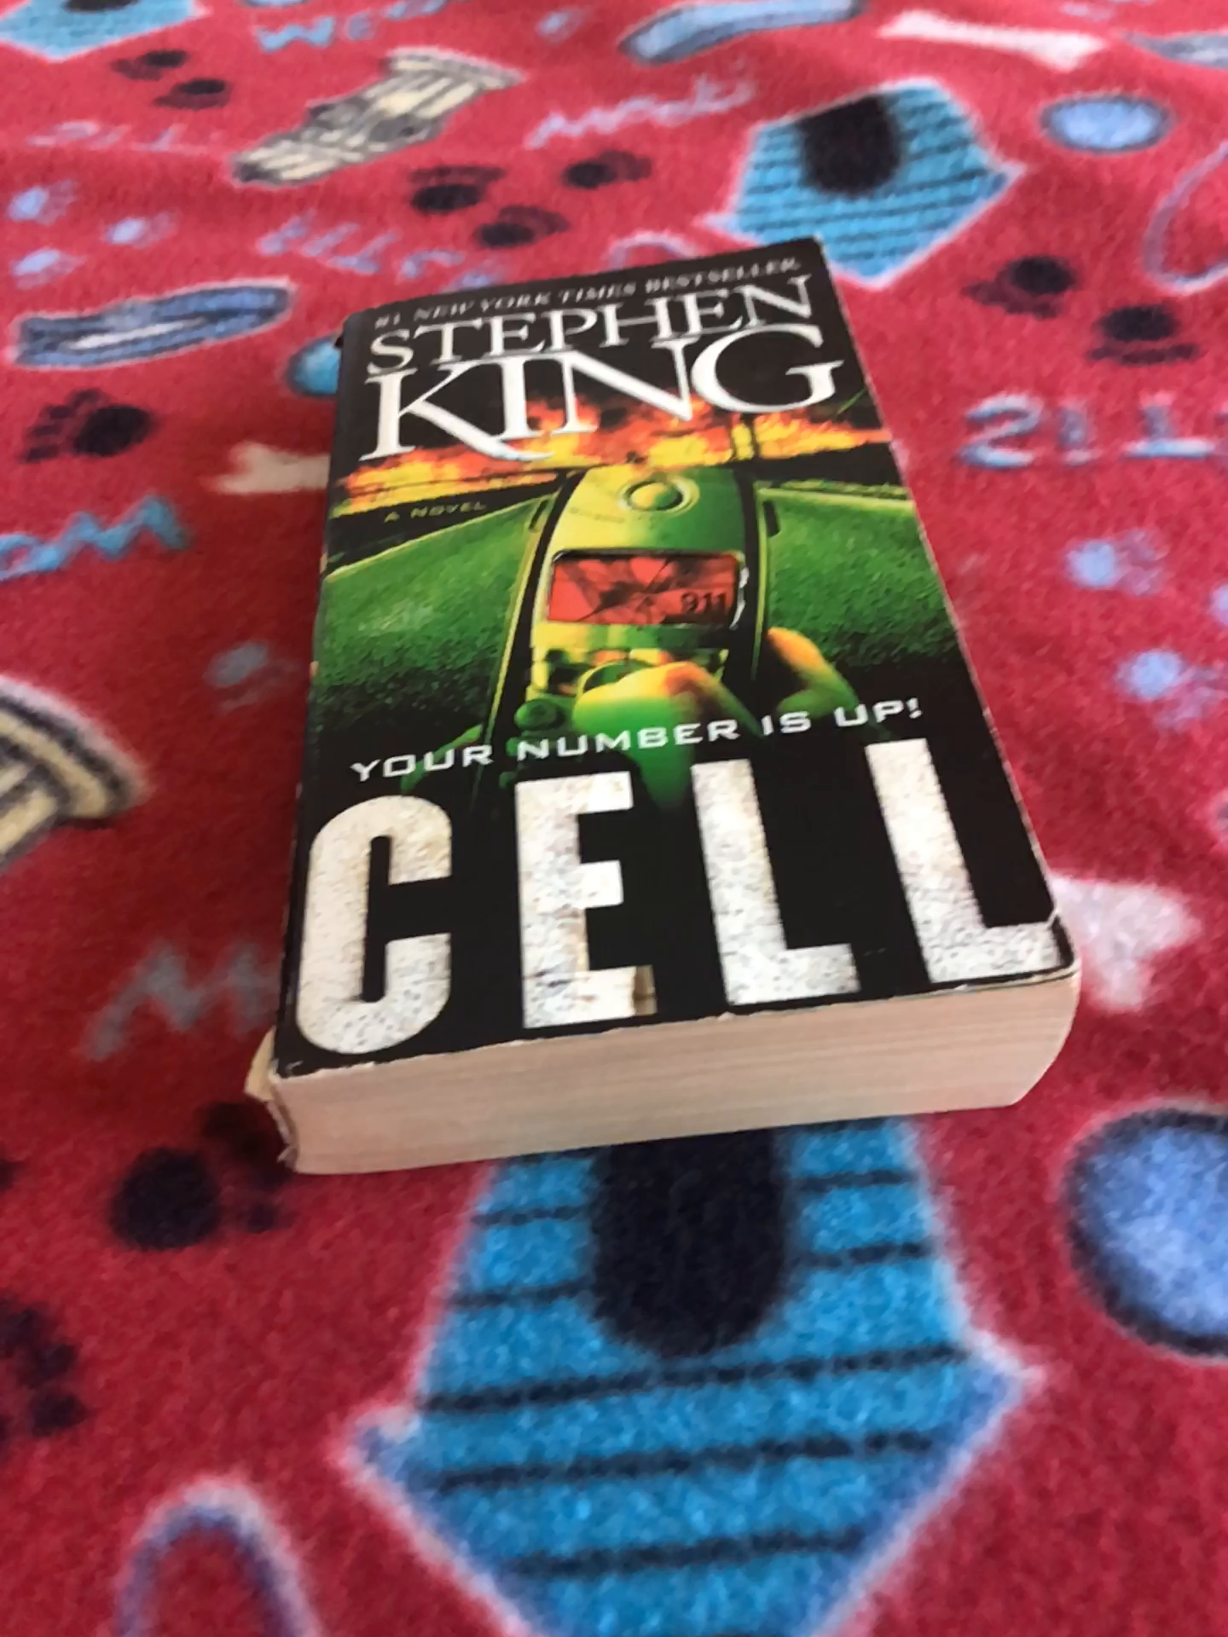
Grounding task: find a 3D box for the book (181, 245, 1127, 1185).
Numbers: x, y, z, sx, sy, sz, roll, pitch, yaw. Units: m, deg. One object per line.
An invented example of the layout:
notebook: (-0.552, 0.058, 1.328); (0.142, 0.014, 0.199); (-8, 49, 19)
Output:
book: (-0.002, -0.038, 0.250); (0.120, 0.030, 0.201); (-4, 49, -2)
